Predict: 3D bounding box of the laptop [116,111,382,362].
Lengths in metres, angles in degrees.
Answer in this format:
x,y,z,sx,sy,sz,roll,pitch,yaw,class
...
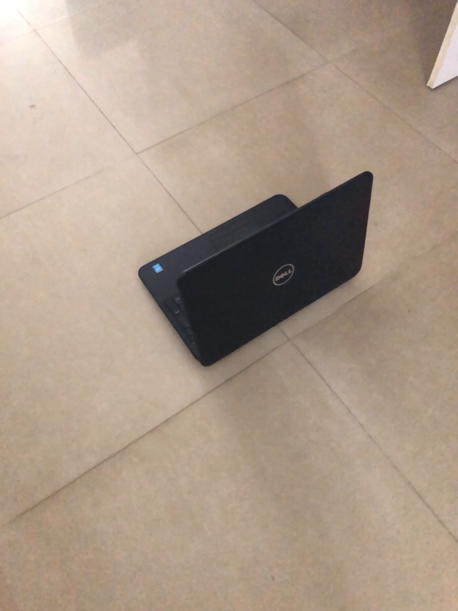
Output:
x,y,z,sx,sy,sz,roll,pitch,yaw,class
0.031,-0.126,0.907,0.352,0.227,0.248,-31,62,-15,laptop
